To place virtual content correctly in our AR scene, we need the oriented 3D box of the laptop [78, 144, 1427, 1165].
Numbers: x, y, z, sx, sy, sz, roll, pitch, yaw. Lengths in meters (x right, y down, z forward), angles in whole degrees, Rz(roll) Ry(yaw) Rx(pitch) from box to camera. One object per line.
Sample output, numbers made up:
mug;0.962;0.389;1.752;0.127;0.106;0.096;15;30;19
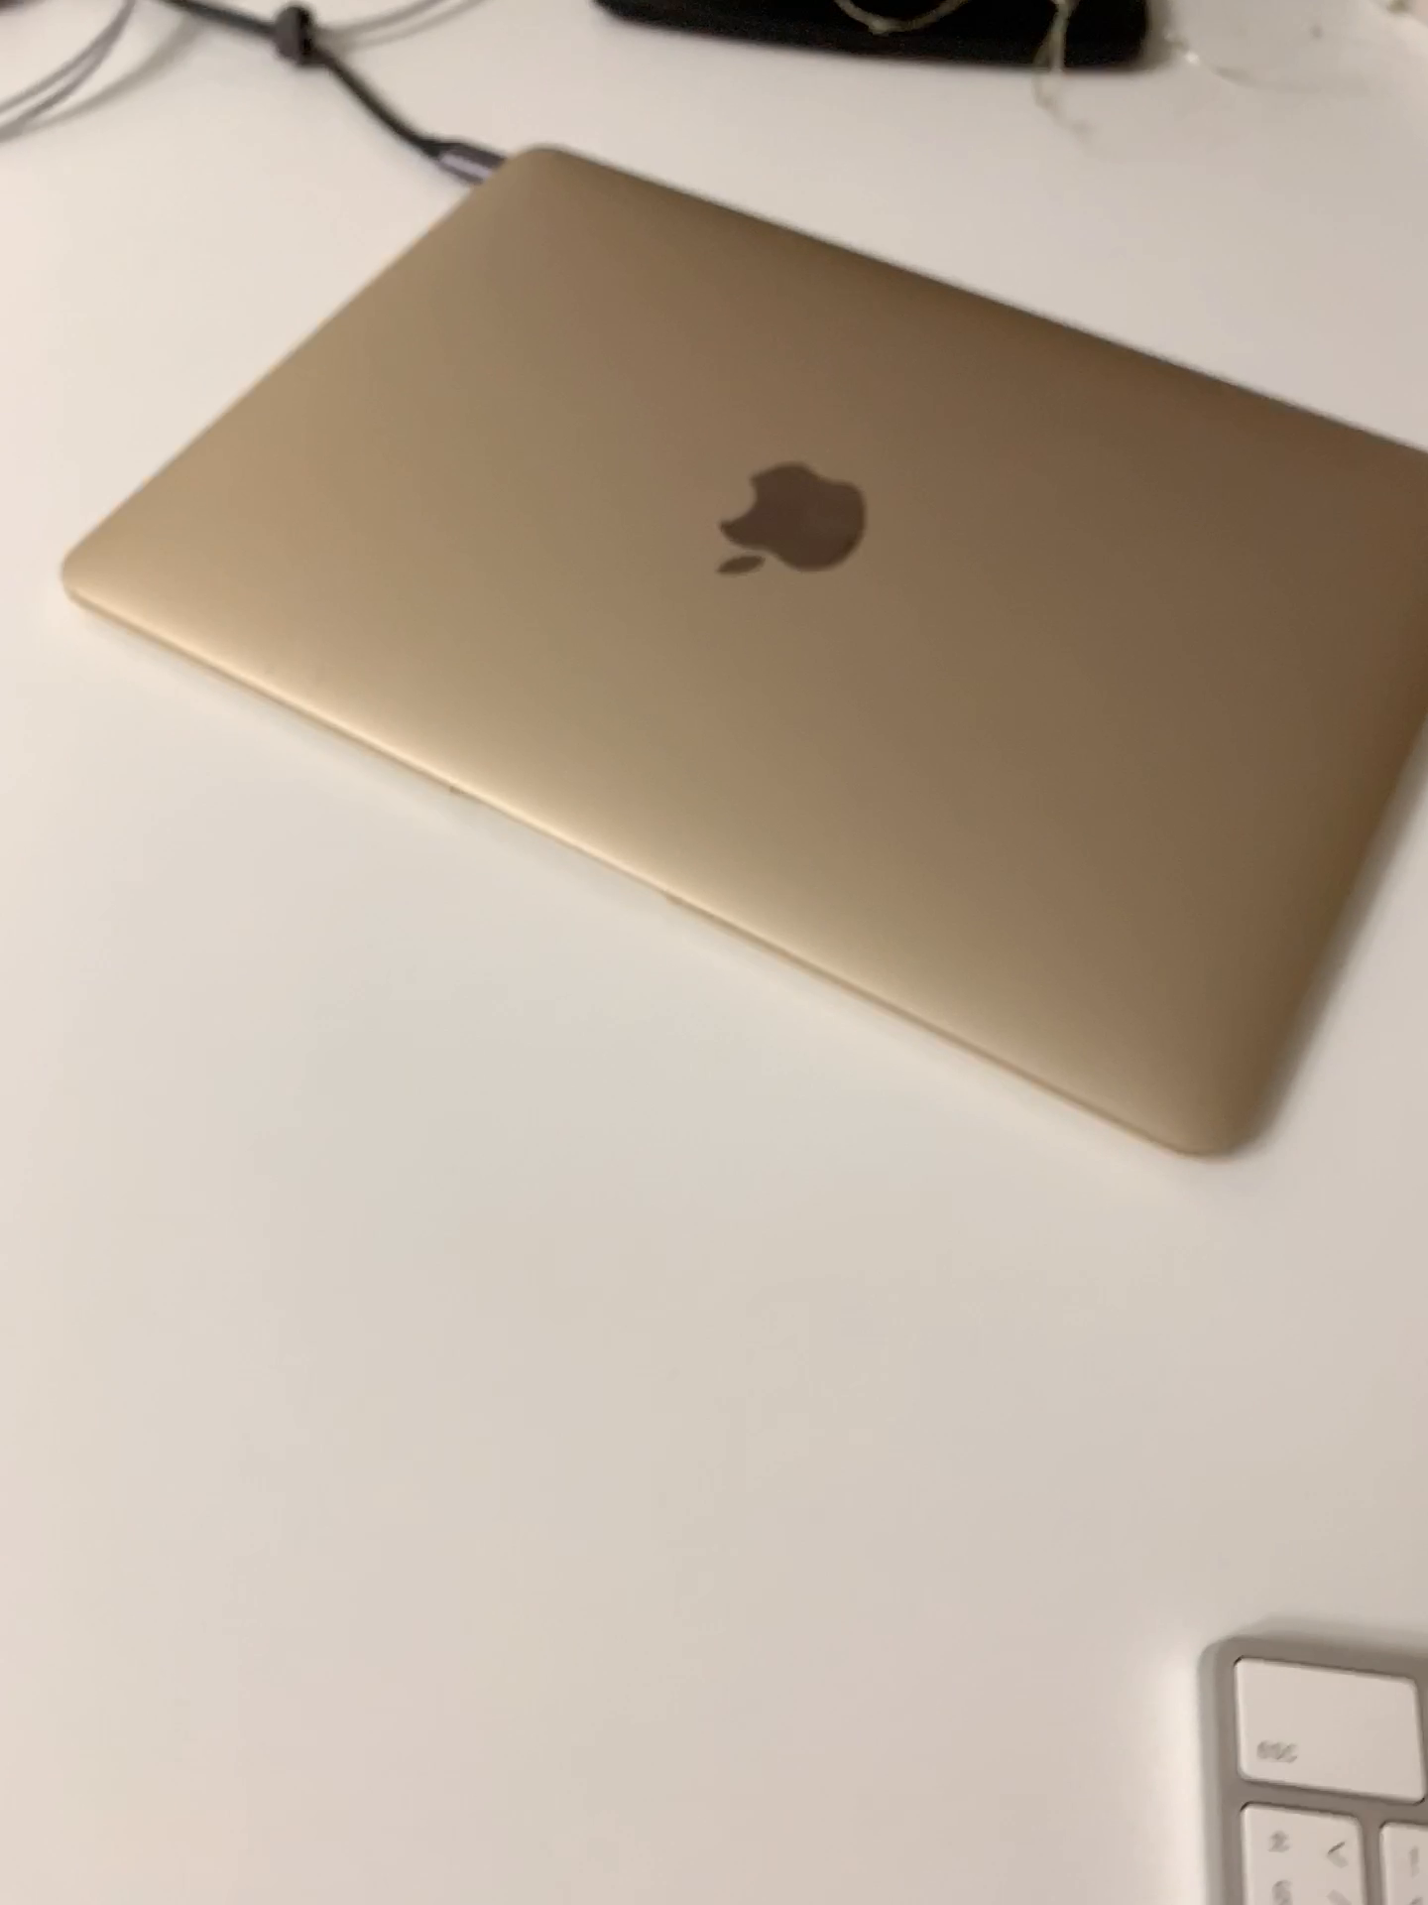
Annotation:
laptop;0.017;-0.087;0.332;0.255;0.013;0.173;27;65;14
